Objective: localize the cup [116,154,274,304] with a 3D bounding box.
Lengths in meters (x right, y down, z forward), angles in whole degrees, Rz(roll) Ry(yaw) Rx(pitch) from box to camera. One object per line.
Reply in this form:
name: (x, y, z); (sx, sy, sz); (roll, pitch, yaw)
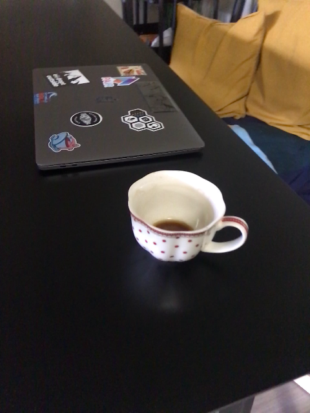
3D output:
cup: (0.038, 0.016, 0.338); (0.120, 0.069, 0.091); (25, 45, 22)
